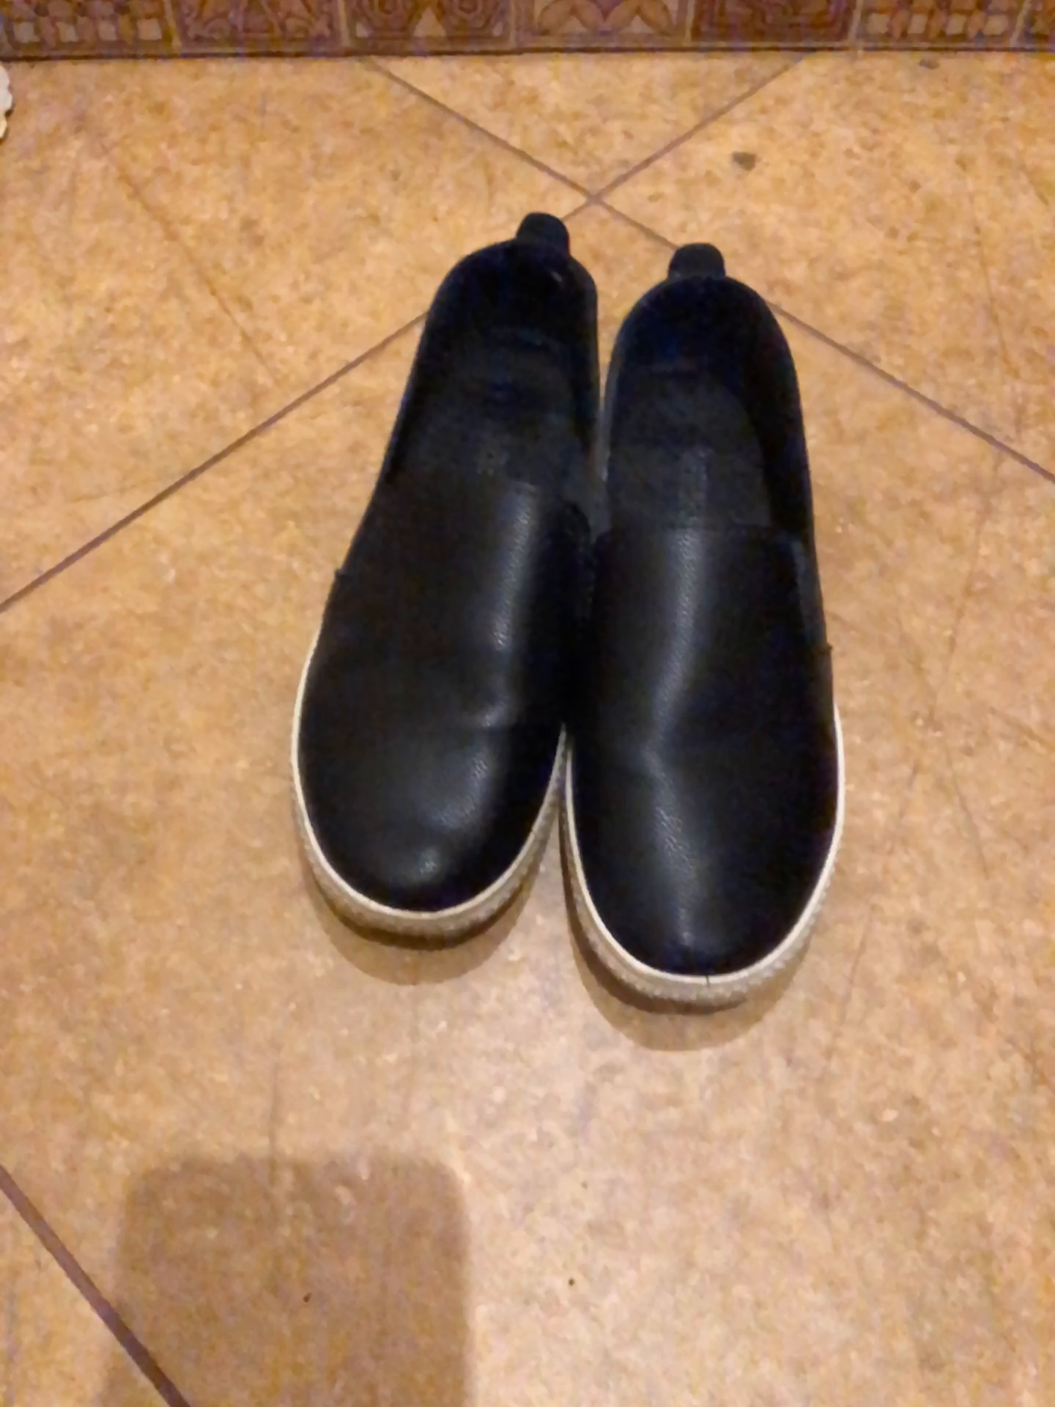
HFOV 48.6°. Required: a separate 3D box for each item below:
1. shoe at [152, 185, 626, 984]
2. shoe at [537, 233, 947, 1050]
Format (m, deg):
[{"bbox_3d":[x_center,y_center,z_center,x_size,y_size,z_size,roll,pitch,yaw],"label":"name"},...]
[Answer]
[{"bbox_3d":[-0.028,-0.048,0.359,0.090,0.070,0.241,7,60,3],"label":"shoe"},{"bbox_3d":[0.056,-0.029,0.351,0.090,0.070,0.241,4,60,1],"label":"shoe"}]
